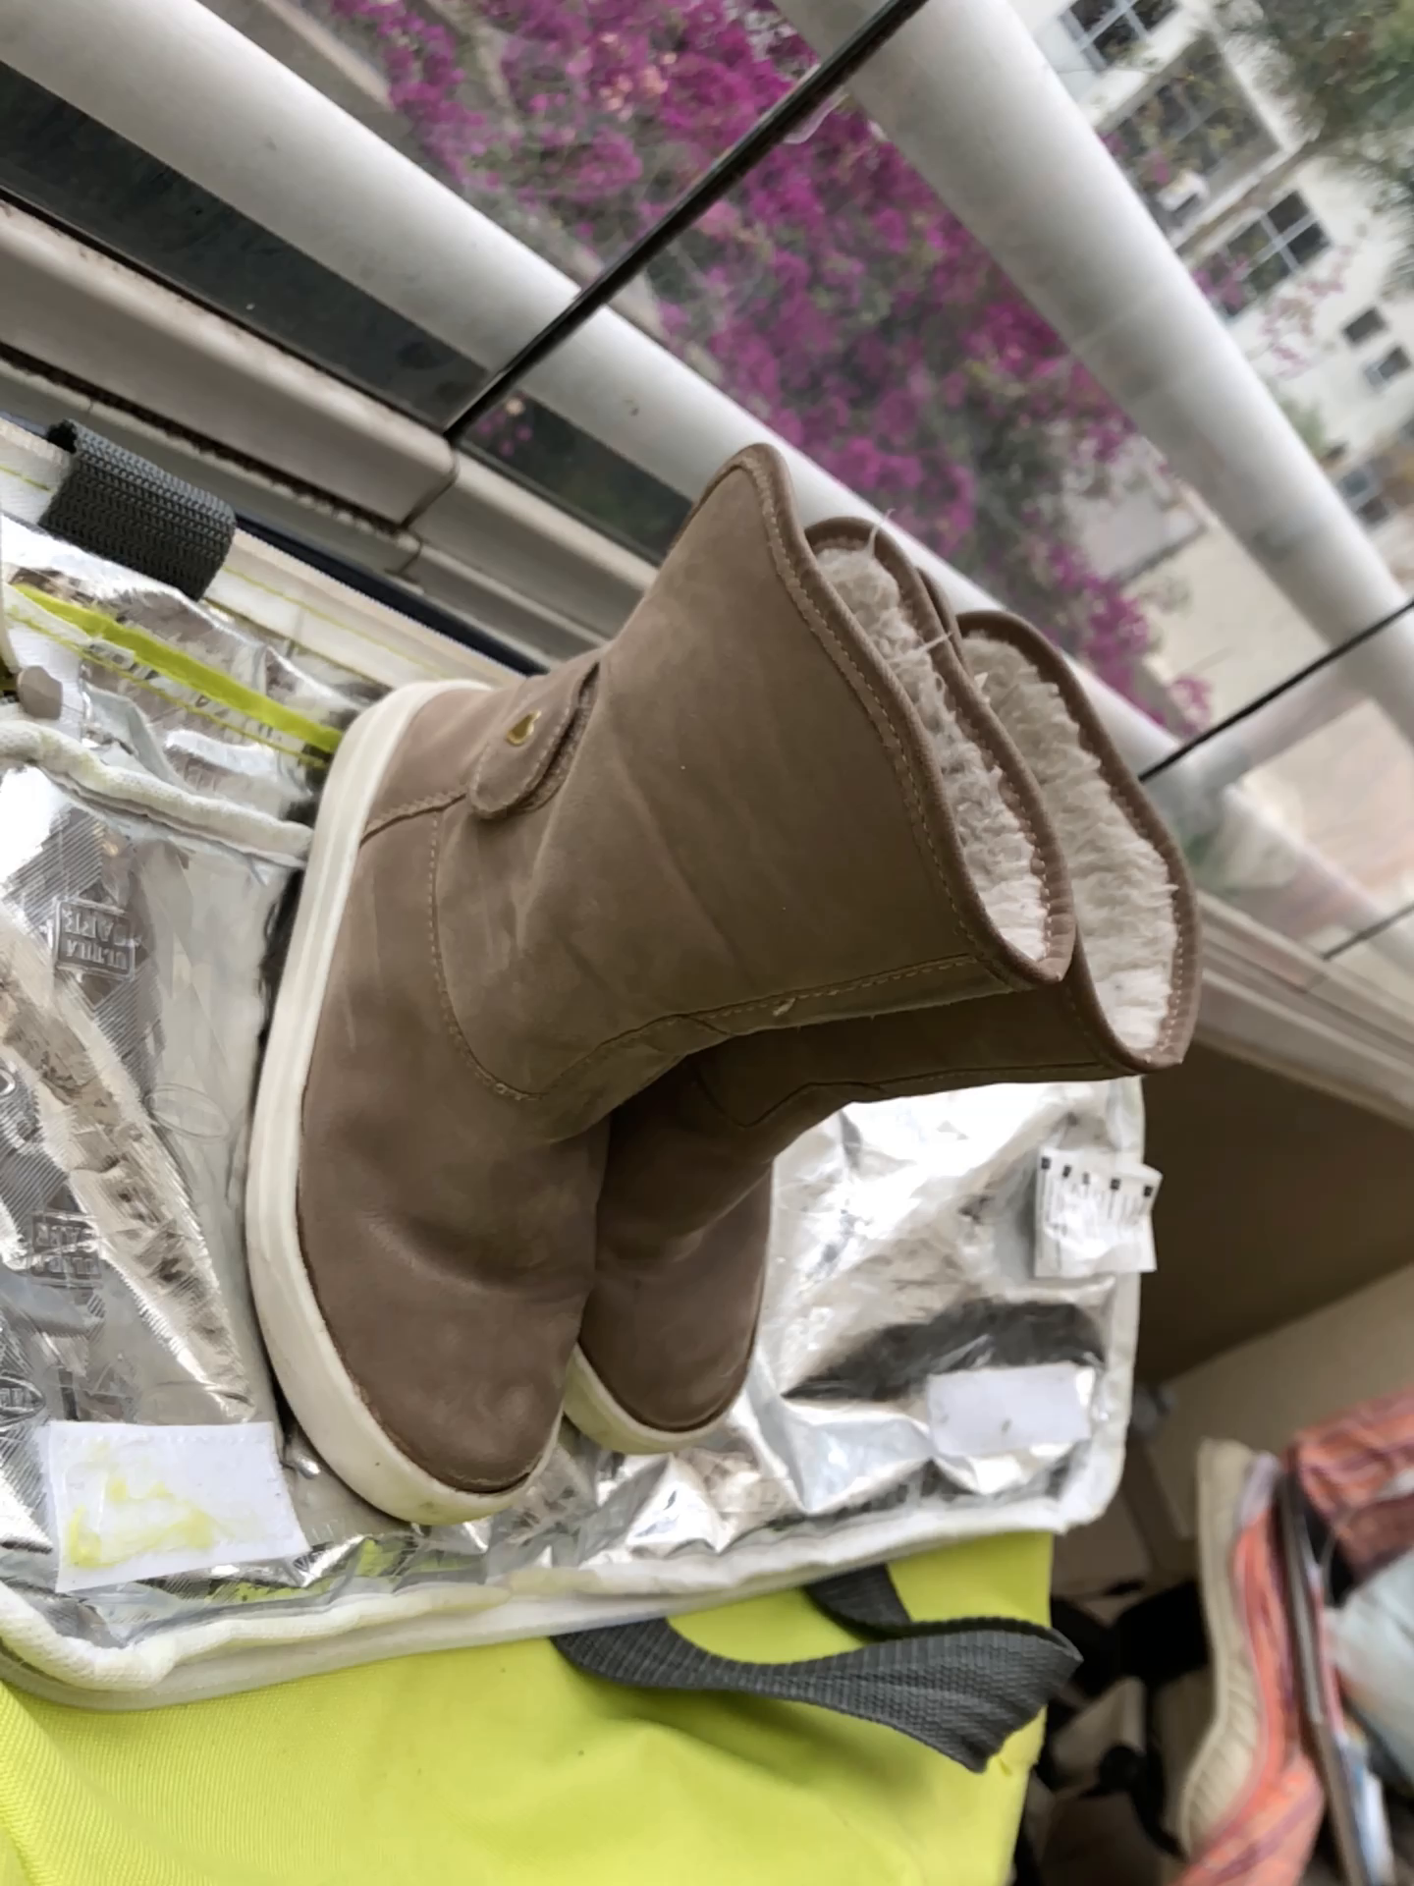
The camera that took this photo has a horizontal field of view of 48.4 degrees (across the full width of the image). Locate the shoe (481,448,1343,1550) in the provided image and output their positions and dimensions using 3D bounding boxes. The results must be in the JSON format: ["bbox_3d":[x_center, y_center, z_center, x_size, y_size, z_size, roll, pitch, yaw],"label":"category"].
[{"bbox_3d":[0.040,0.019,0.370,0.090,0.169,0.200,12,74,-51],"label":"shoe"}]

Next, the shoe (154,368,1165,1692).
[{"bbox_3d":[-0.014,0.021,0.310,0.090,0.169,0.190,14,72,-49],"label":"shoe"}]
